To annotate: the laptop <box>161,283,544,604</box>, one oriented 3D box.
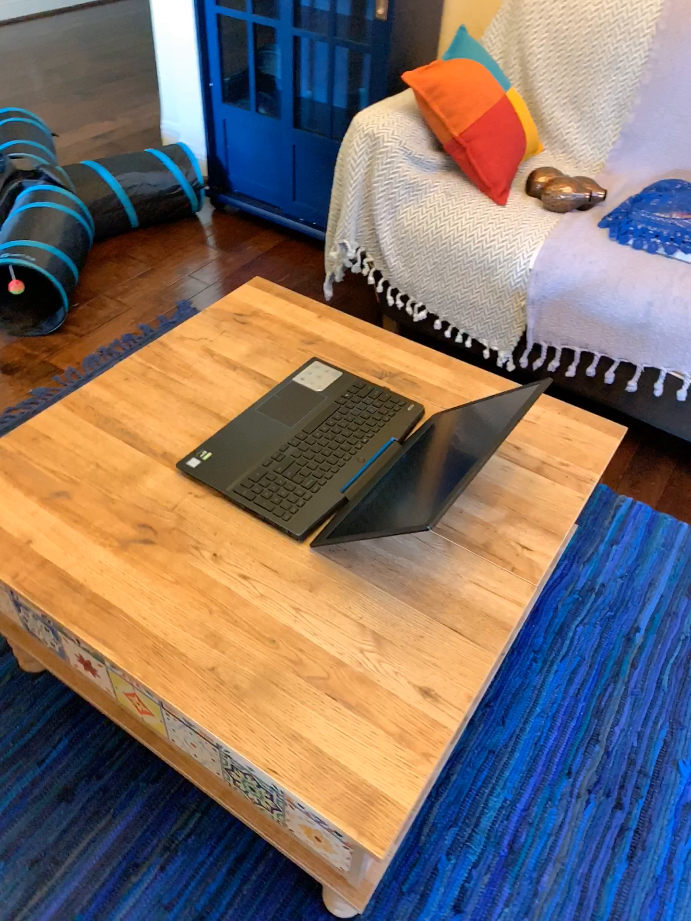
[{"bbox_3d":[0.015,-0.055,1.042,0.418,0.156,0.347,27,48,22],"label":"laptop"}]
